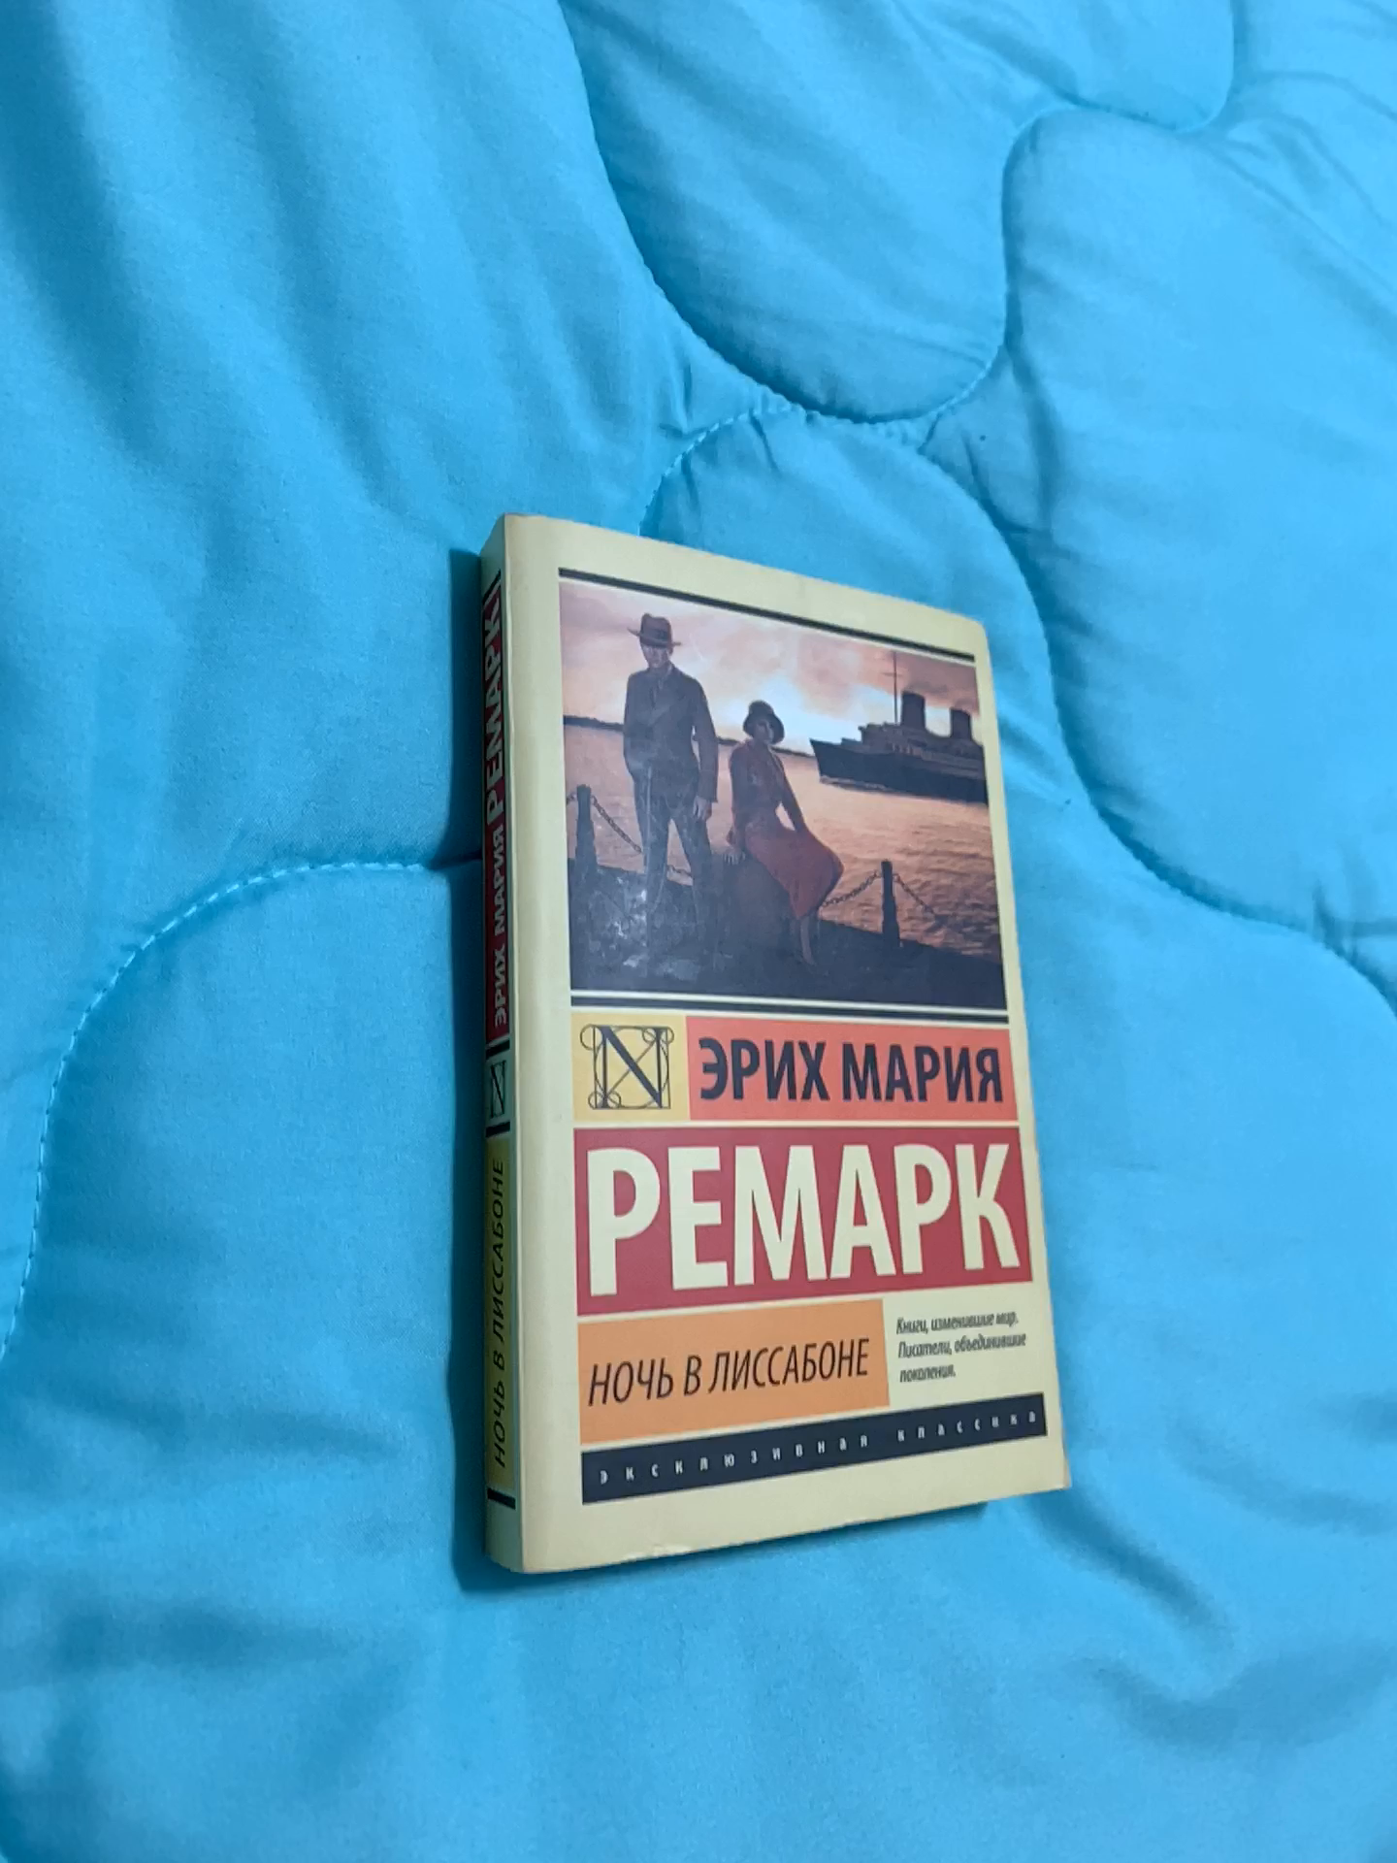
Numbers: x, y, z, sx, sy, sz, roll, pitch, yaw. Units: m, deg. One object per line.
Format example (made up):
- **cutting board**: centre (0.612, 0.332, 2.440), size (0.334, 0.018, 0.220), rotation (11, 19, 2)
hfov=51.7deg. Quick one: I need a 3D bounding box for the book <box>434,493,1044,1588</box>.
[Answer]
- **book**: centre (0.009, 0.017, 0.264), size (0.113, 0.020, 0.172), rotation (5, 78, -31)
